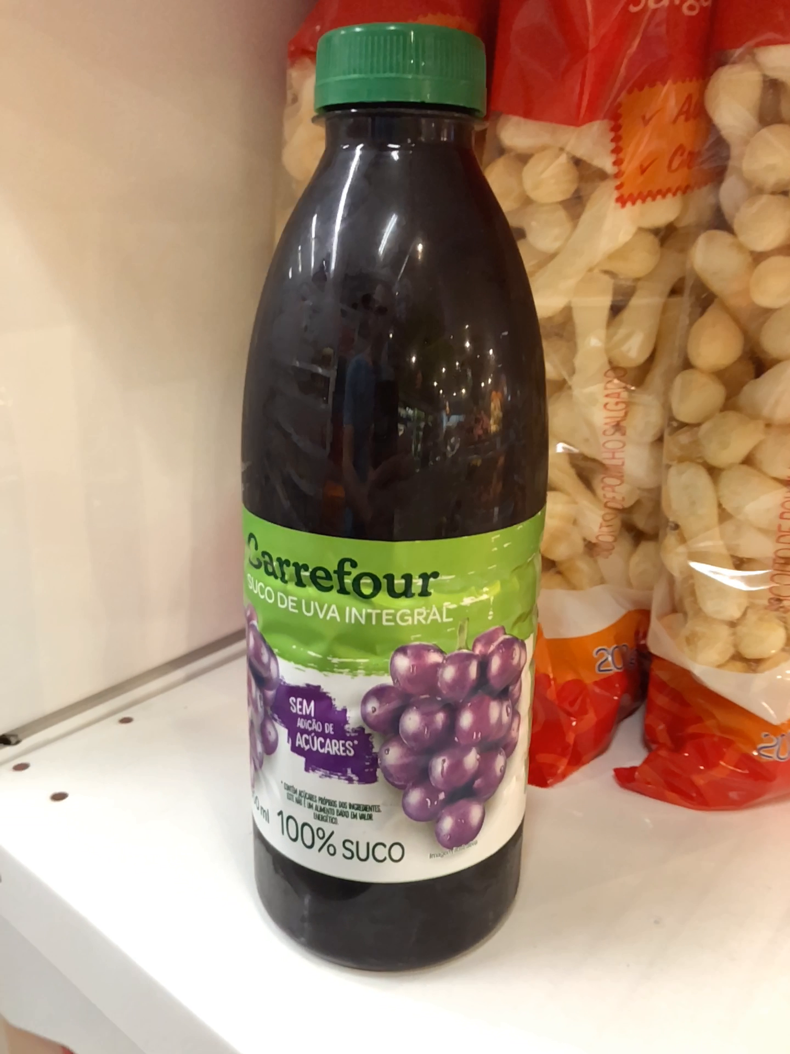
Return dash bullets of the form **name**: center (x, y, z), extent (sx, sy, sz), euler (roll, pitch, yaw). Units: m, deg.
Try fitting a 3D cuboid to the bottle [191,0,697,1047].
- **bottle**: center (0.012, 0.000, 0.230), extent (0.090, 0.229, 0.080), euler (9, 20, 20)
